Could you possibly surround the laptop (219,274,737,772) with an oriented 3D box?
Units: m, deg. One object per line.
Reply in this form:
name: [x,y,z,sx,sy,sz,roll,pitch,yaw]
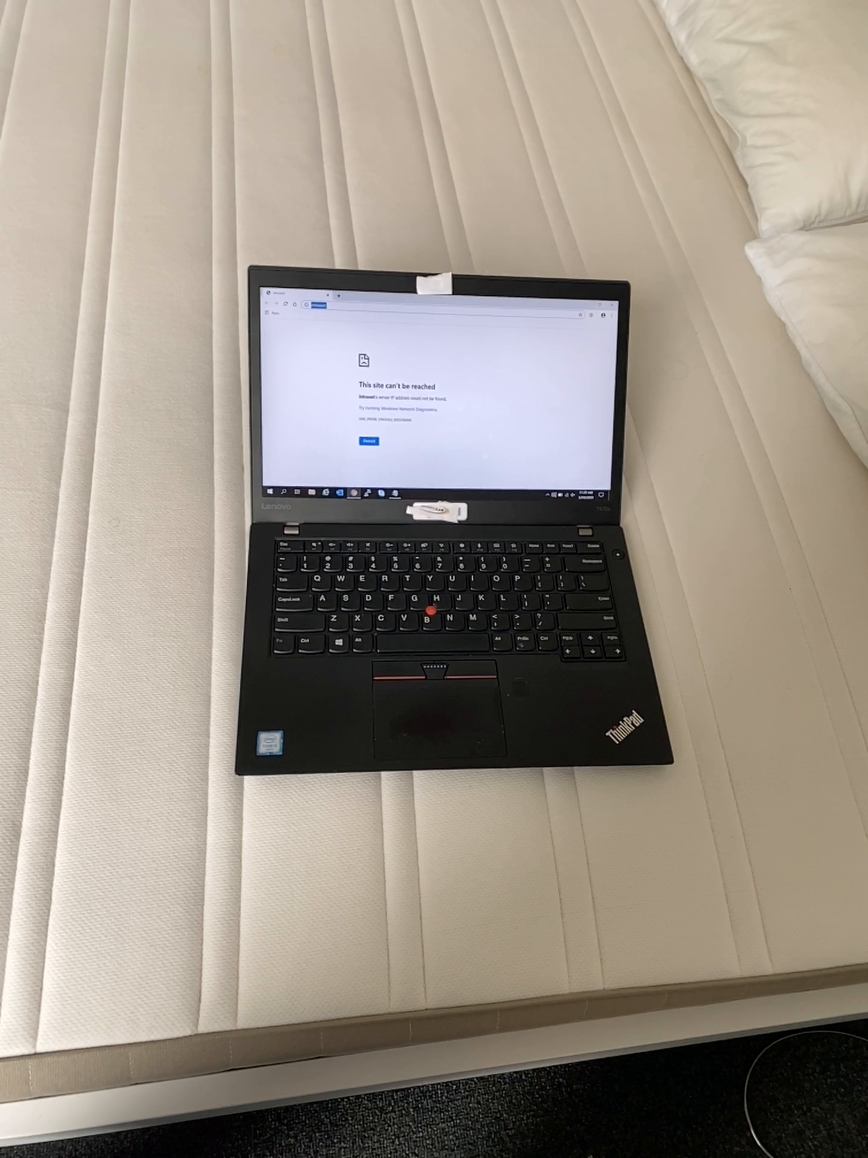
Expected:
laptop: [0.013,-0.054,0.691,0.320,0.120,0.382,1,56,-9]
